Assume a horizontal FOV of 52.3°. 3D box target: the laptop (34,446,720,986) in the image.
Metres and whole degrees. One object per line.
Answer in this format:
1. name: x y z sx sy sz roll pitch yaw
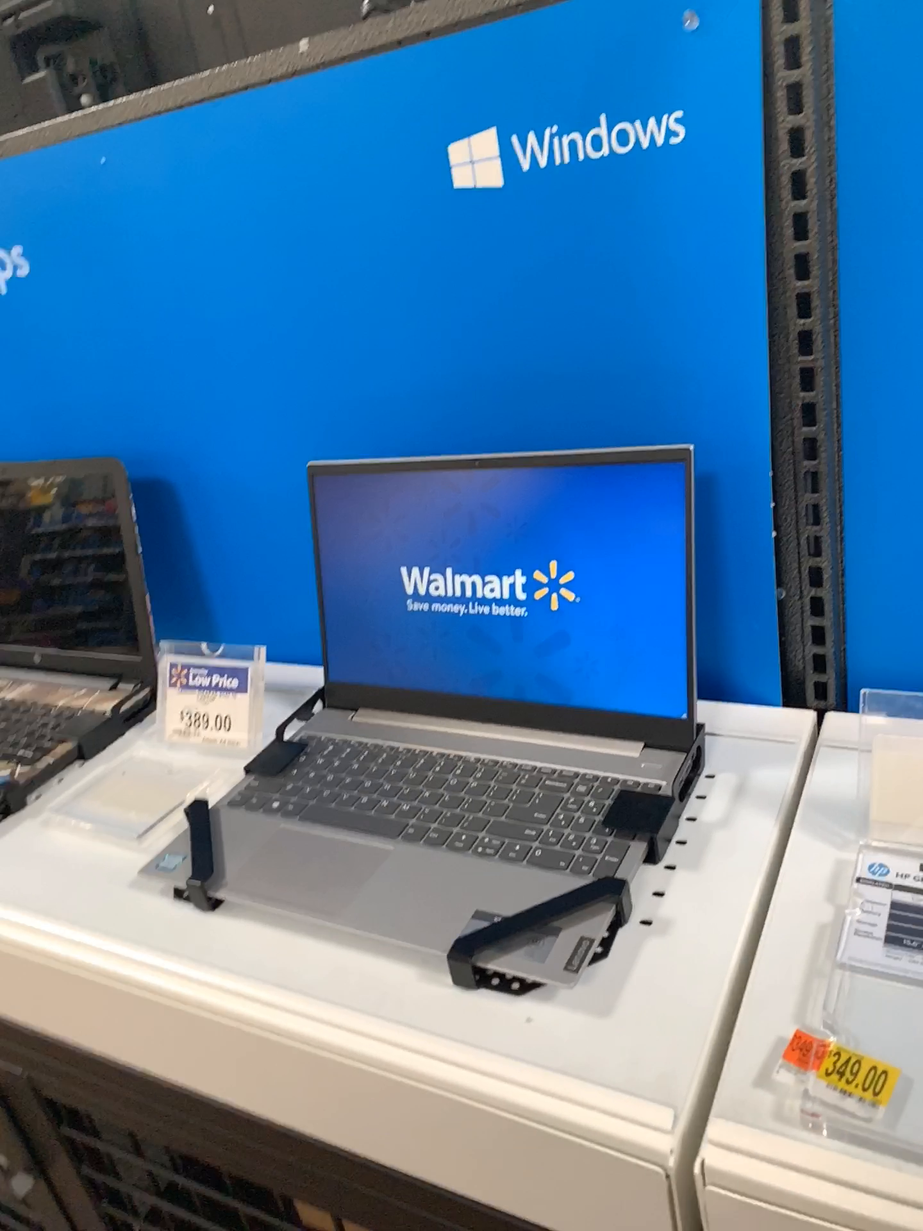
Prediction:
1. laptop: -0.037 0.037 0.683 0.351 0.217 0.298 3 27 31
